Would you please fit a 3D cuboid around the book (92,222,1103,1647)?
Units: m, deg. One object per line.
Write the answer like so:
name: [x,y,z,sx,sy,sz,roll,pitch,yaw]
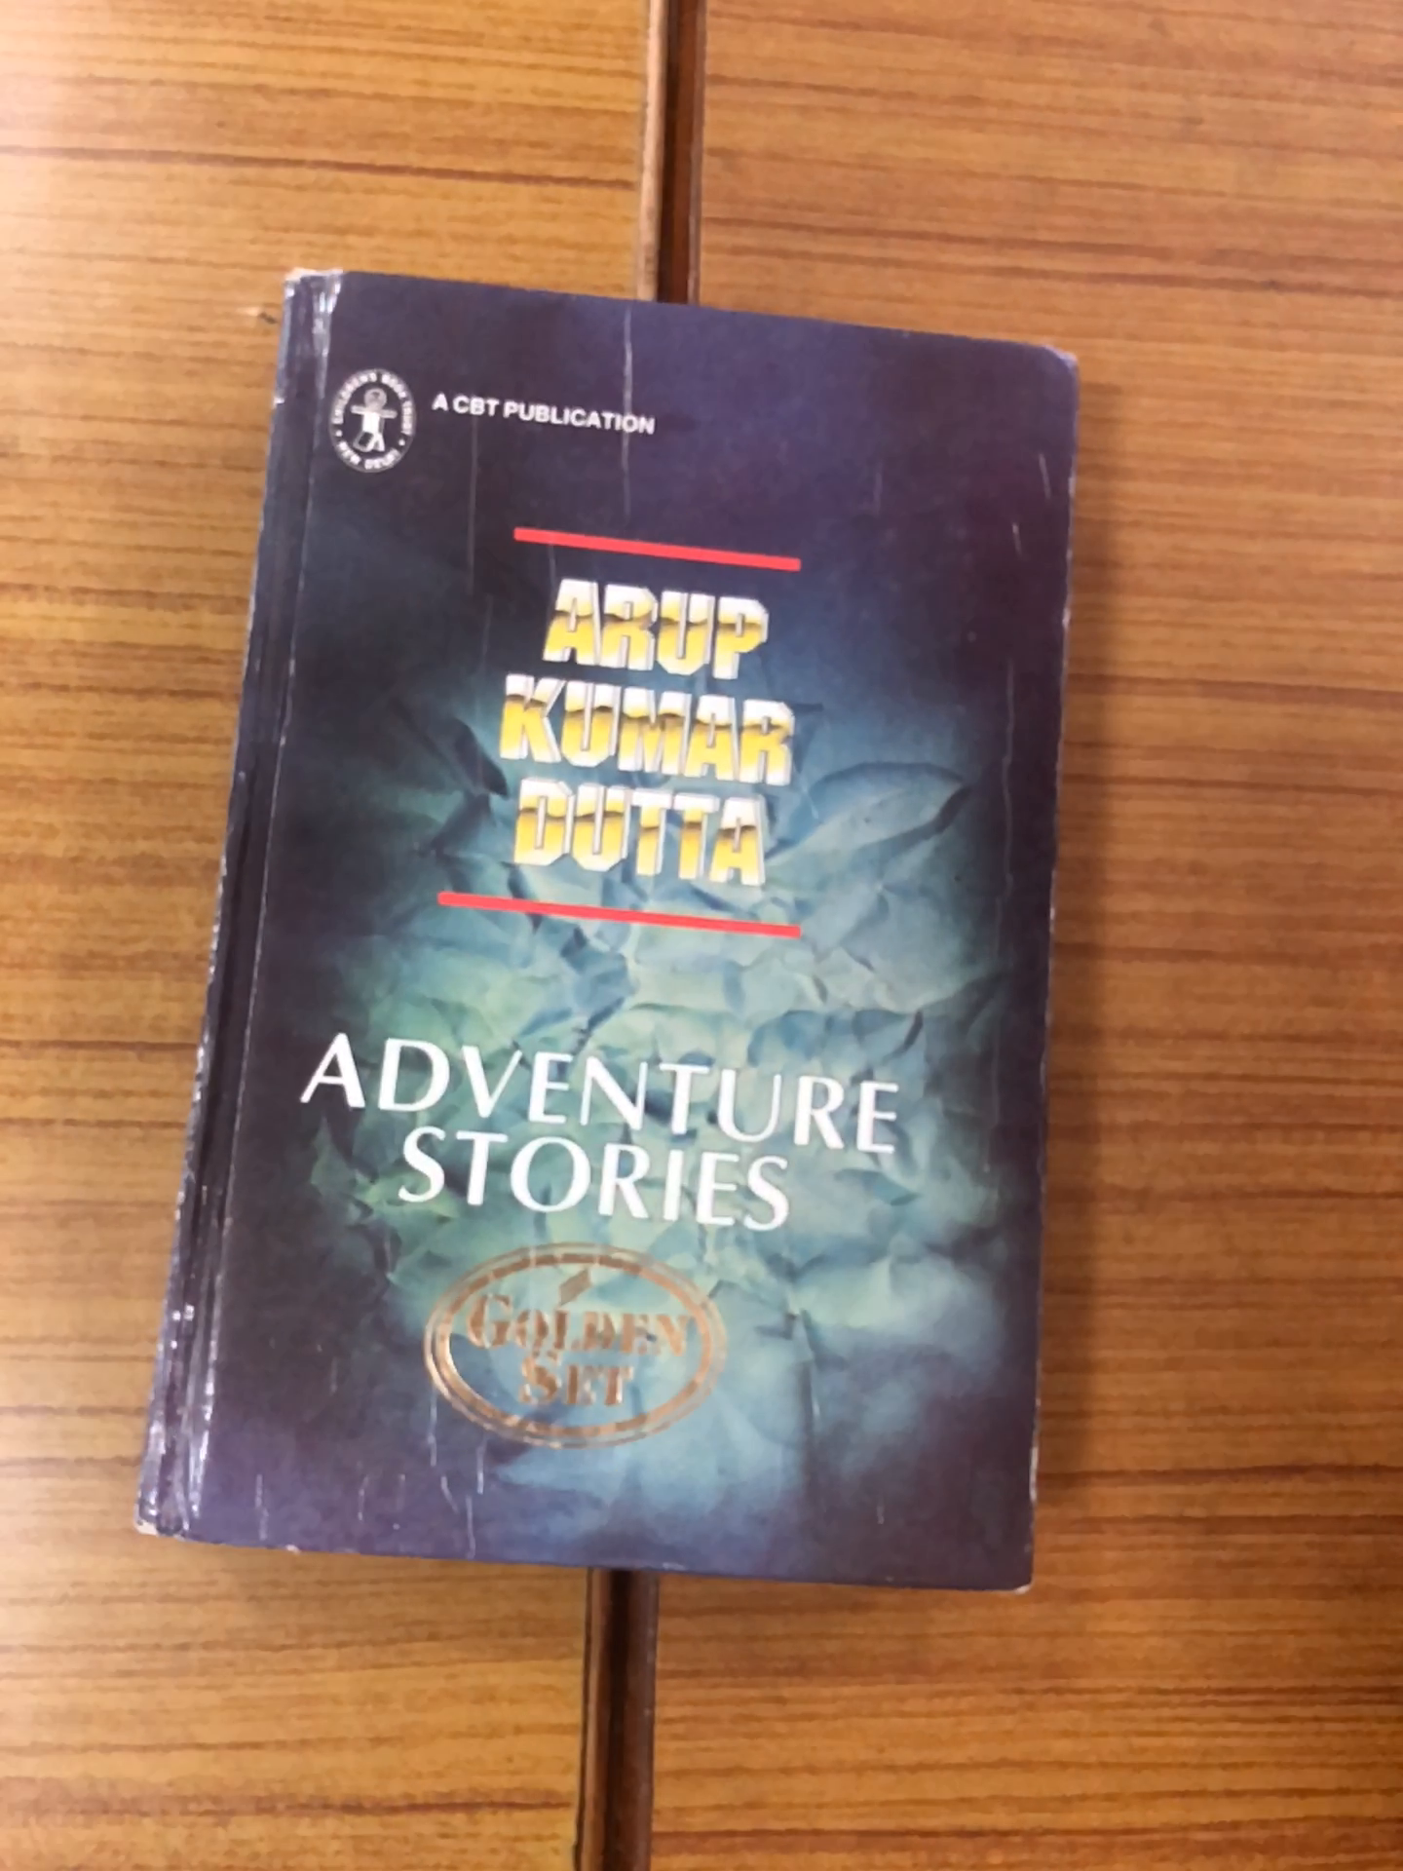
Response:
book: [-0.012,-0.001,0.270,0.145,0.036,0.218,4,84,-4]
